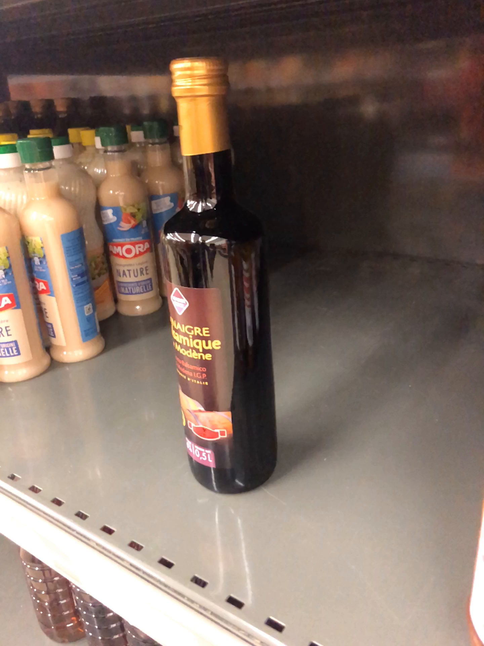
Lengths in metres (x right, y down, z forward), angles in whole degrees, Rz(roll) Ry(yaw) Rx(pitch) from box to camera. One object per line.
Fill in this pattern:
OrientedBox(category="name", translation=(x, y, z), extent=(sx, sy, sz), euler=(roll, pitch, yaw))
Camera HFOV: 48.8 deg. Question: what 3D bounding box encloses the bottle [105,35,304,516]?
OrientedBox(category="bottle", translation=(-0.013, -0.021, 0.329), extent=(0.070, 0.269, 0.070), euler=(-3, 23, 1))
